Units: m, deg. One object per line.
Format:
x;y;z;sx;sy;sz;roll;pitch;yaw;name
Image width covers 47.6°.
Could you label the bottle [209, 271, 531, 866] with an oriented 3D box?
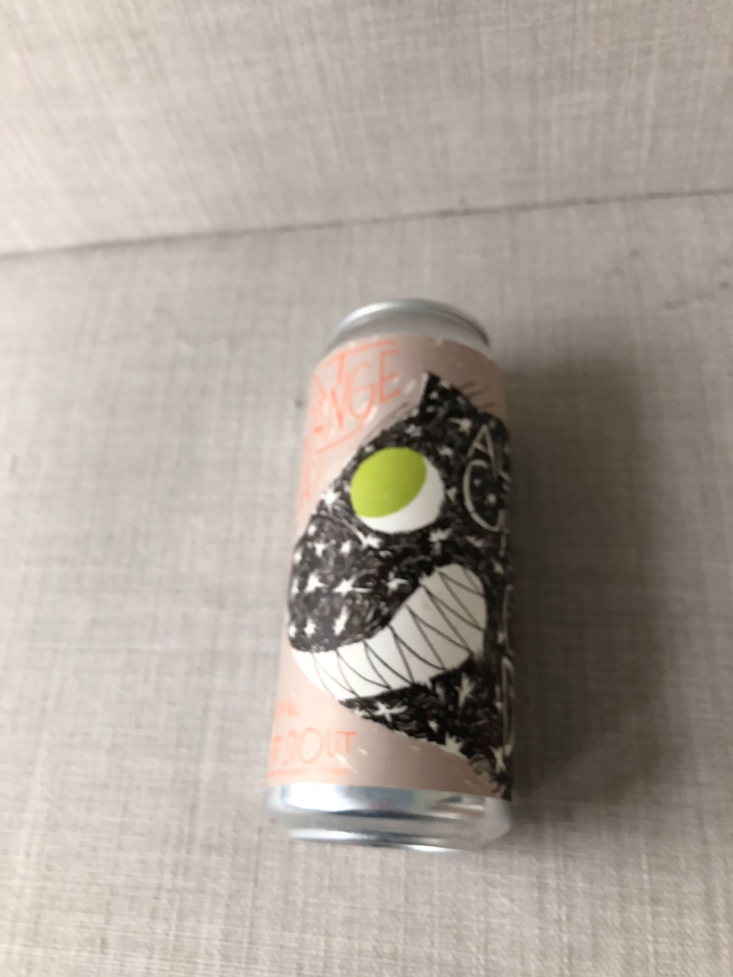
0.008;0.023;0.239;0.070;0.070;0.151;-1;67;9;bottle
